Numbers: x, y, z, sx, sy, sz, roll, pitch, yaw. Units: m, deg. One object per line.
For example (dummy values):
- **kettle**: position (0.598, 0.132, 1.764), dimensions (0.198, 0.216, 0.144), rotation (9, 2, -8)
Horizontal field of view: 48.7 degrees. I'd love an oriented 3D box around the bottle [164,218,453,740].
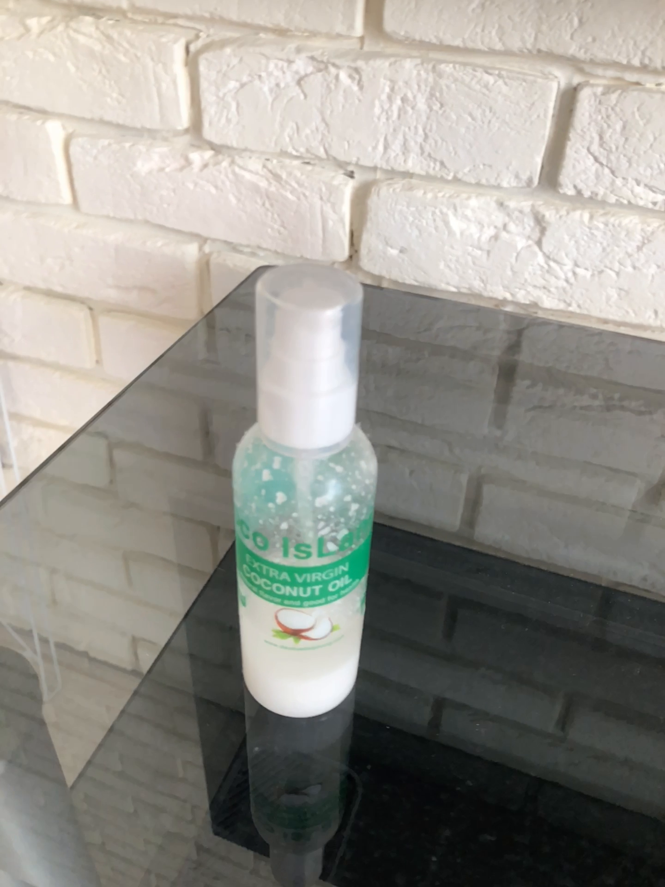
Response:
- **bottle**: position (-0.007, 0.015, 0.214), dimensions (0.050, 0.139, 0.050), rotation (2, 36, -2)
